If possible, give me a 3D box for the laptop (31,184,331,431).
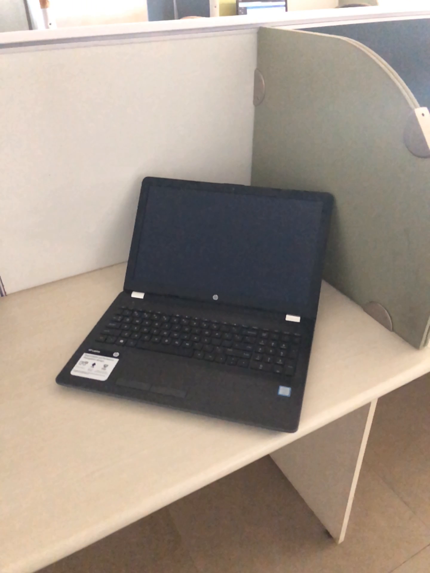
[{"bbox_3d":[-0.016,-0.005,0.792,0.365,0.167,0.395,8,35,14],"label":"laptop"}]
